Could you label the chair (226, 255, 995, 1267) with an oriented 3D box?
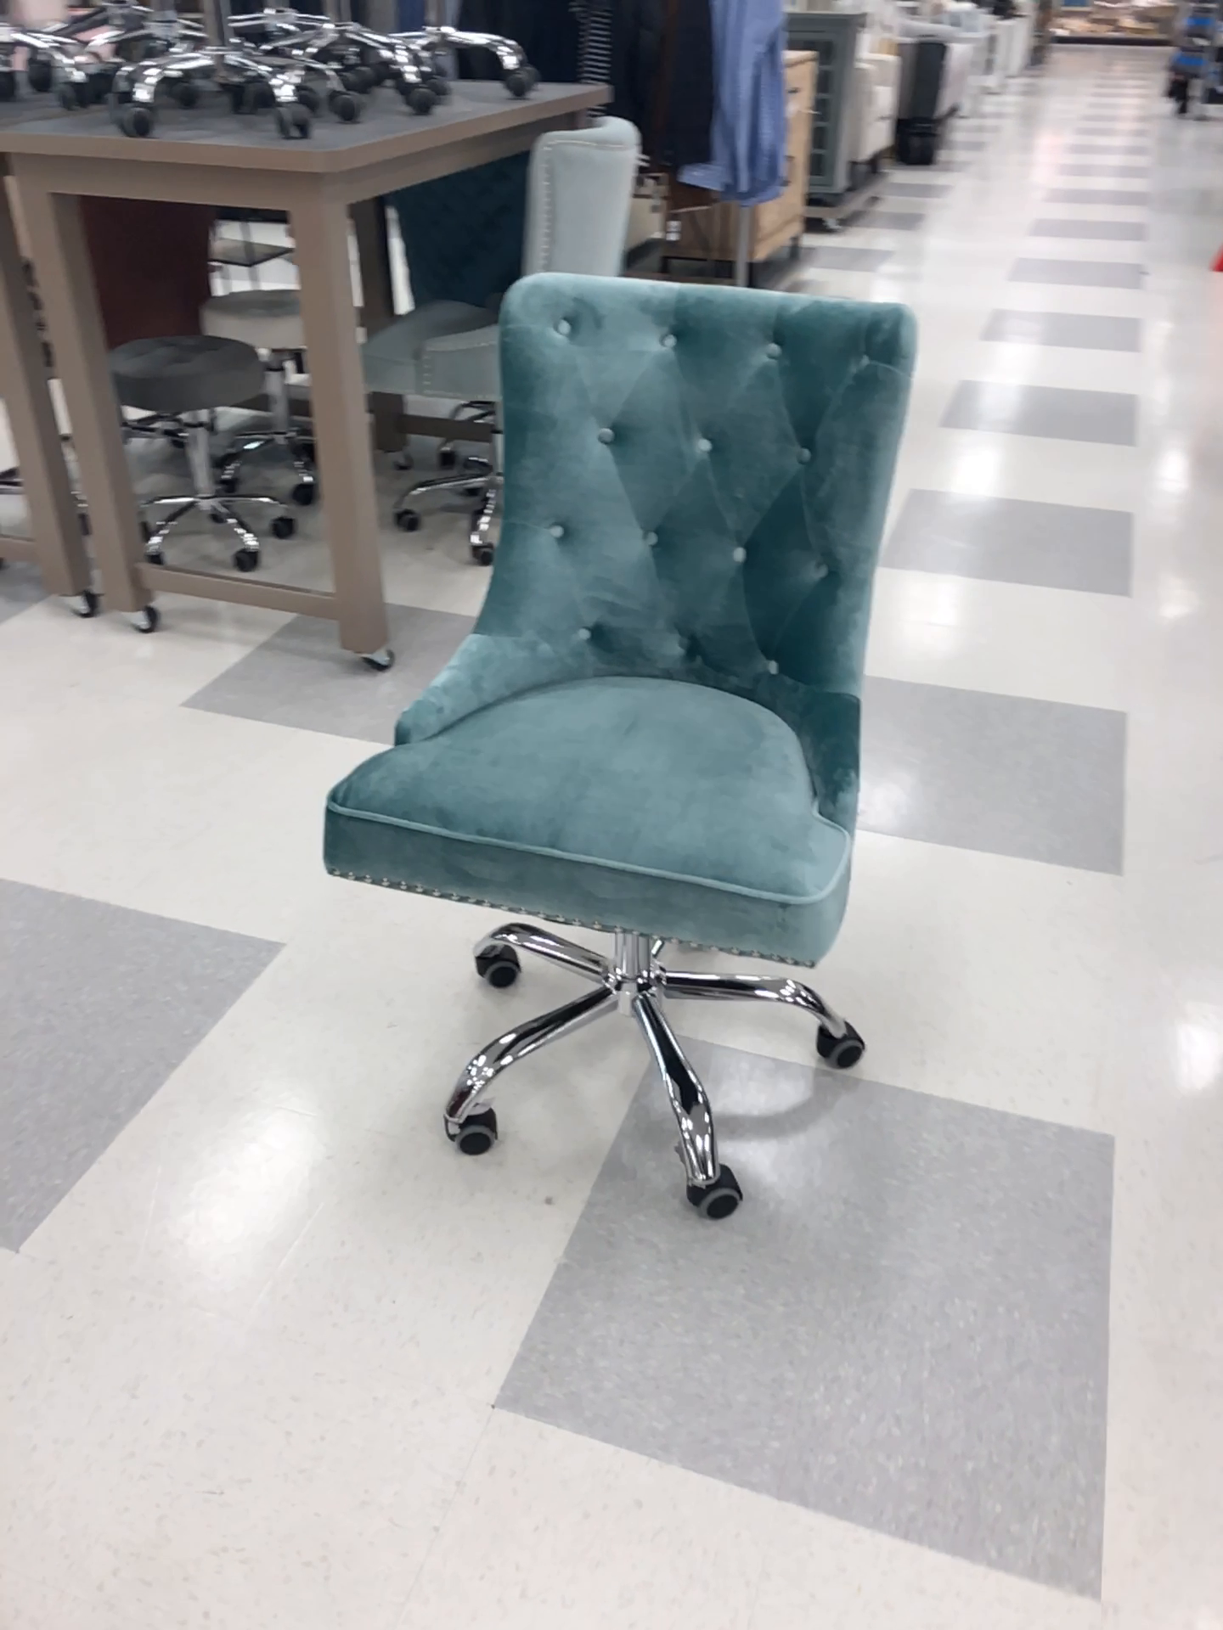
[{"bbox_3d":[0.043,-0.095,1.592,0.597,0.934,0.609,11,34,17],"label":"chair"}]
